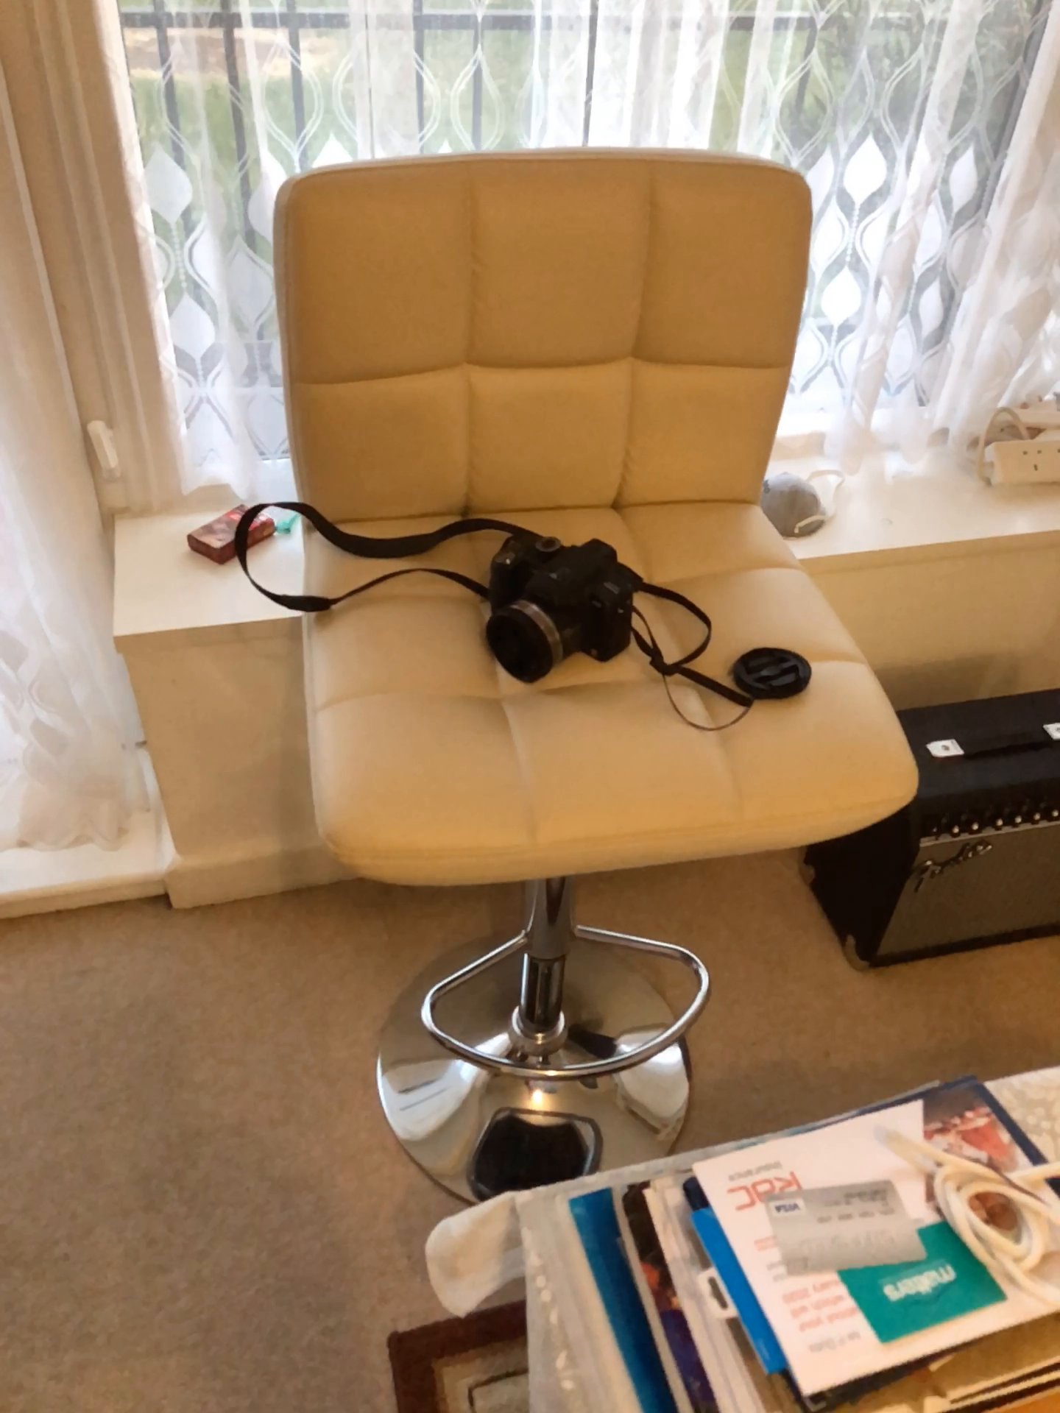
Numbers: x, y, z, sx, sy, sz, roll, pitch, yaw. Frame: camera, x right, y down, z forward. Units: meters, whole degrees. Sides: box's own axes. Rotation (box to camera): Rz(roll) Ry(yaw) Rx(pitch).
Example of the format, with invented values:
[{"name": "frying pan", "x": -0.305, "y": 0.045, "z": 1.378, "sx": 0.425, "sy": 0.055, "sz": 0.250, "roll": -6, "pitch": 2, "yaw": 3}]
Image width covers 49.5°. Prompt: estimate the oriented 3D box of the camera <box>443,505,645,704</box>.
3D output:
[{"name": "camera", "x": 0.009, "y": -0.079, "z": 0.863, "sx": 0.112, "sy": 0.076, "sz": 0.098, "roll": 29, "pitch": 48, "yaw": 26}]
